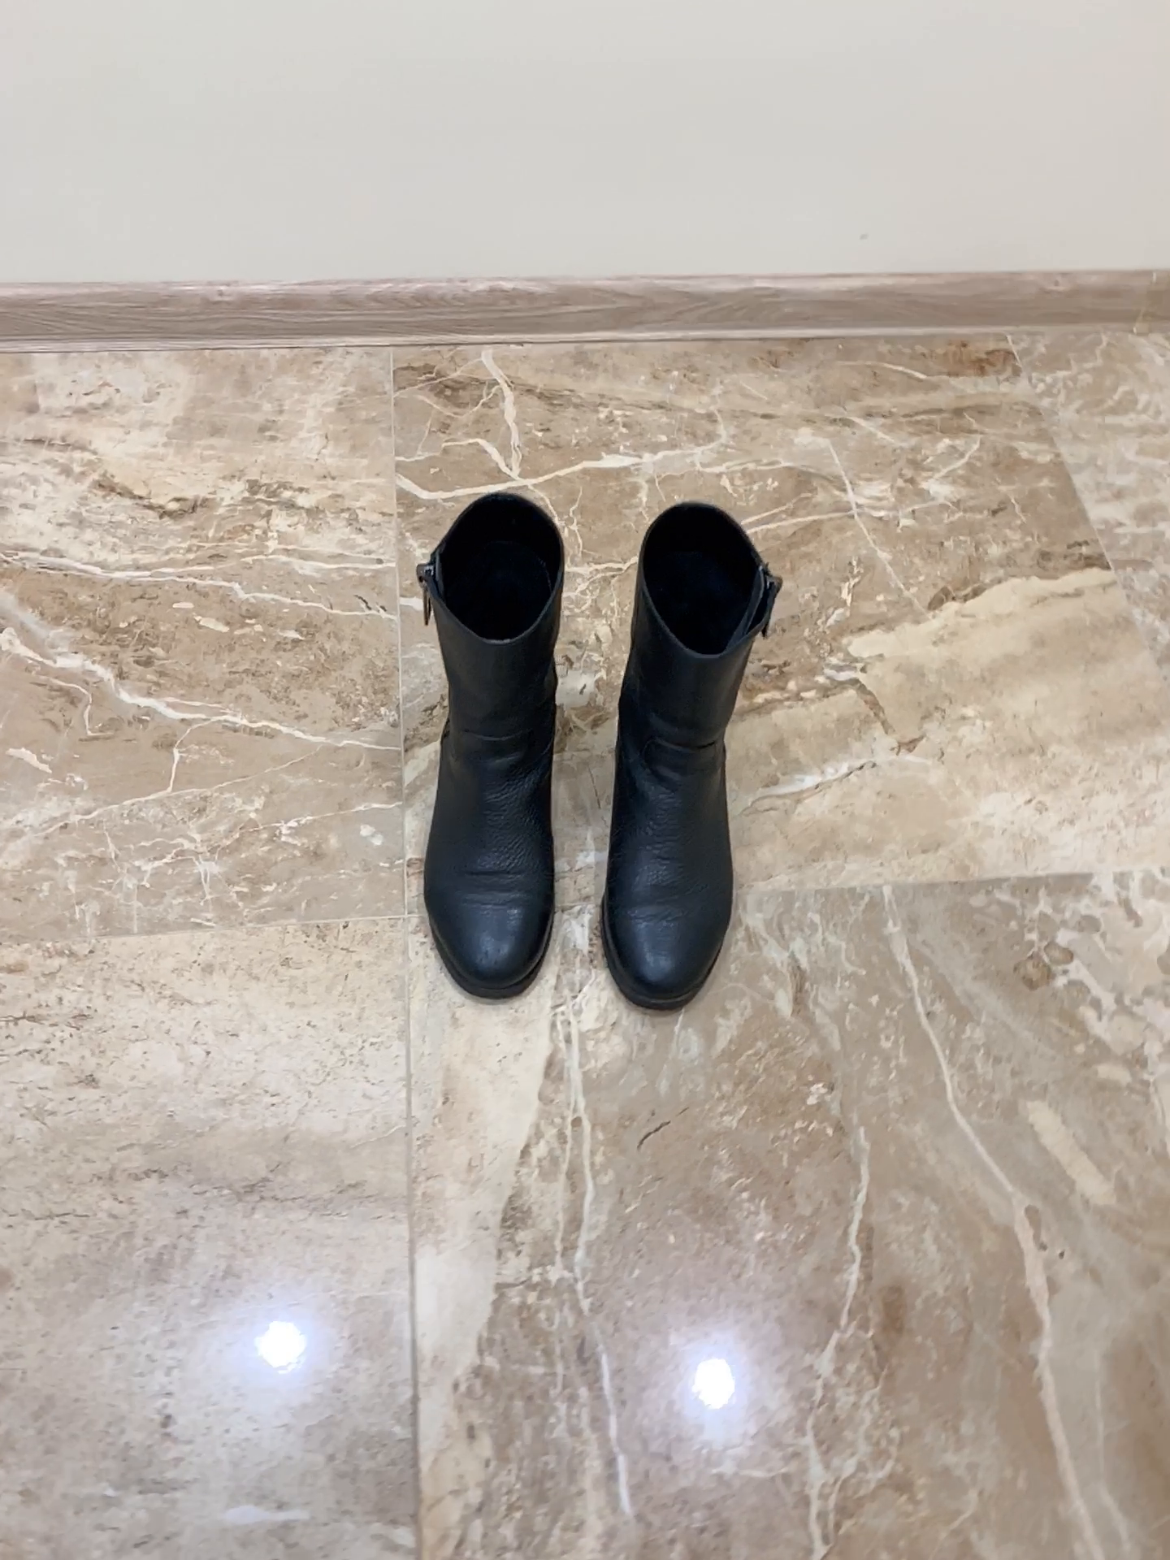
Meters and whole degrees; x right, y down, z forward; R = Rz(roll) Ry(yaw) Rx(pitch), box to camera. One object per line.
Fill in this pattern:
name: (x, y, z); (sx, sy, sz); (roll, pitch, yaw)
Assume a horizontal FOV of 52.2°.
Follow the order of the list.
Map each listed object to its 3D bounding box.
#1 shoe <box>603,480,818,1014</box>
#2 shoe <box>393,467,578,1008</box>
shoe: (0.065, -0.016, 0.752); (0.090, 0.209, 0.261); (2, 57, -3)
shoe: (-0.056, -0.022, 0.741); (0.090, 0.209, 0.261); (2, 57, -3)
